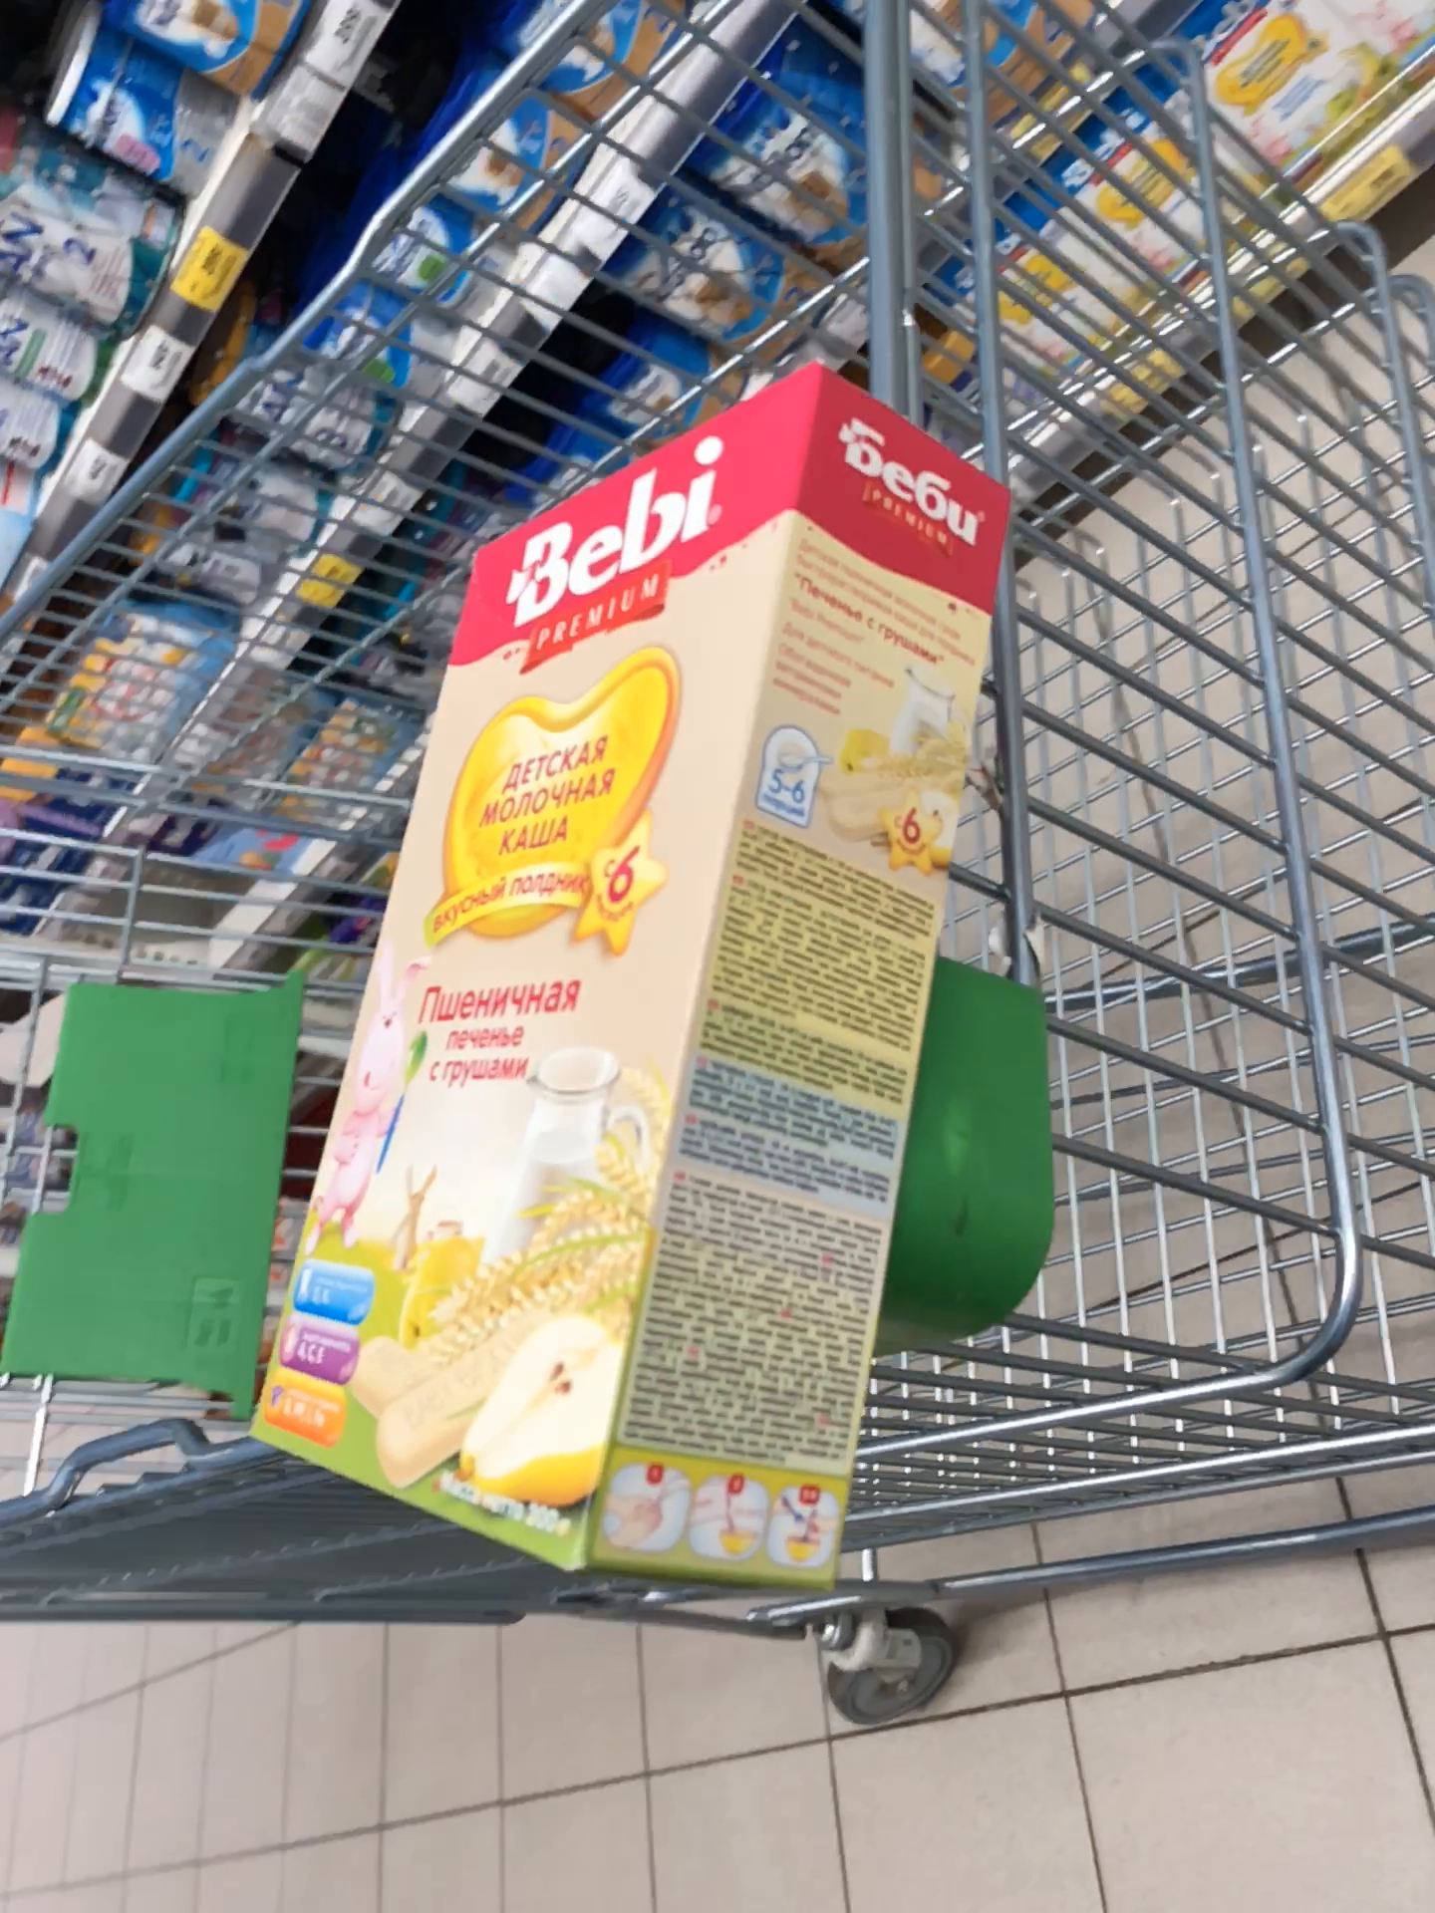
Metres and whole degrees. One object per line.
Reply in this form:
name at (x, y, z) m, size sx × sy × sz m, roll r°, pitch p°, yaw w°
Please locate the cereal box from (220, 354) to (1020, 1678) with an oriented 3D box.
cereal box at (-0.022, 0.010, 0.309) m, size 0.131 × 0.050 × 0.210 m, roll -8°, pitch 66°, yaw 53°
